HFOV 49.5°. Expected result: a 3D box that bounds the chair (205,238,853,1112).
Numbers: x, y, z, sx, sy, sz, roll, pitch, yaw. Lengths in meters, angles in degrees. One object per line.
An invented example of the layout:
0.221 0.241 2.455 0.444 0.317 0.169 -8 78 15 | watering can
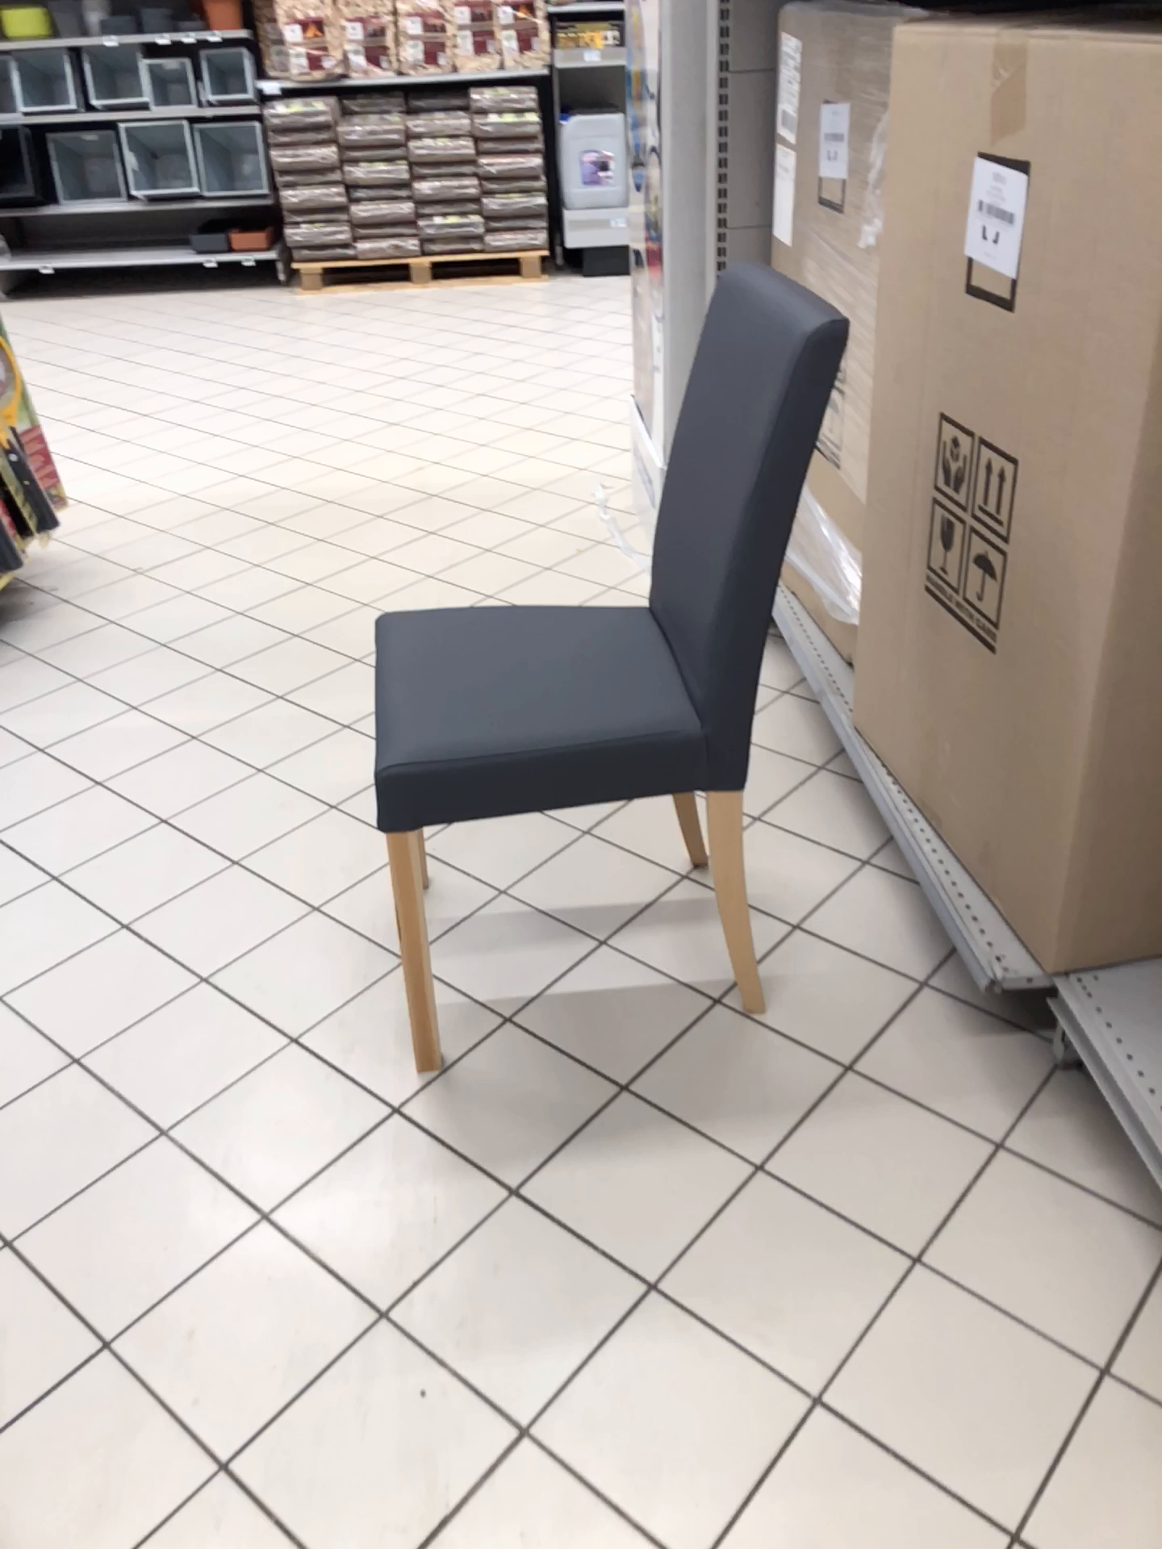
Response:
-0.061 -0.134 1.486 0.571 0.825 0.472 -10 30 -10 | chair
